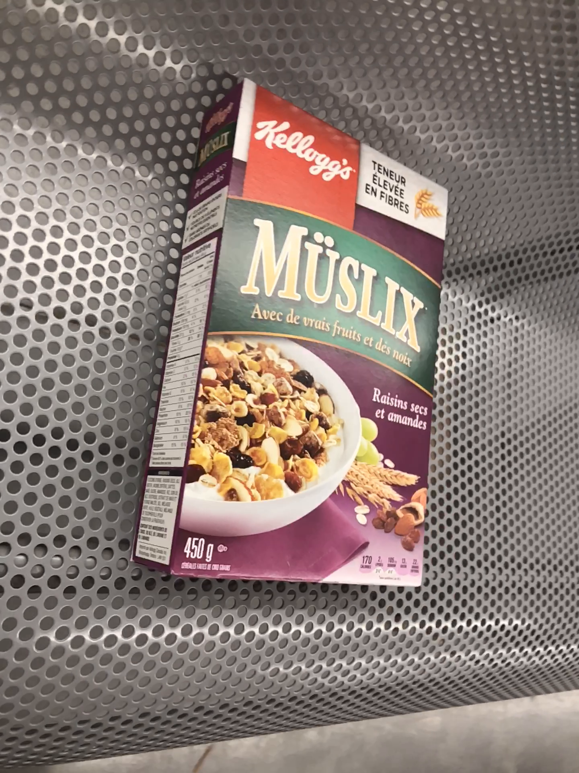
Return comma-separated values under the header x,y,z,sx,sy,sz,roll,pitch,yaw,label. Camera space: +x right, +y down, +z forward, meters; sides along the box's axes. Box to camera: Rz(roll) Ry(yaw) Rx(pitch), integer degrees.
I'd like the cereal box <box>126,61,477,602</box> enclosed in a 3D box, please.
x,y,z,sx,sy,sz,roll,pitch,yaw,label
0.022,-0.018,0.368,0.181,0.050,0.260,15,75,-33,cereal box
